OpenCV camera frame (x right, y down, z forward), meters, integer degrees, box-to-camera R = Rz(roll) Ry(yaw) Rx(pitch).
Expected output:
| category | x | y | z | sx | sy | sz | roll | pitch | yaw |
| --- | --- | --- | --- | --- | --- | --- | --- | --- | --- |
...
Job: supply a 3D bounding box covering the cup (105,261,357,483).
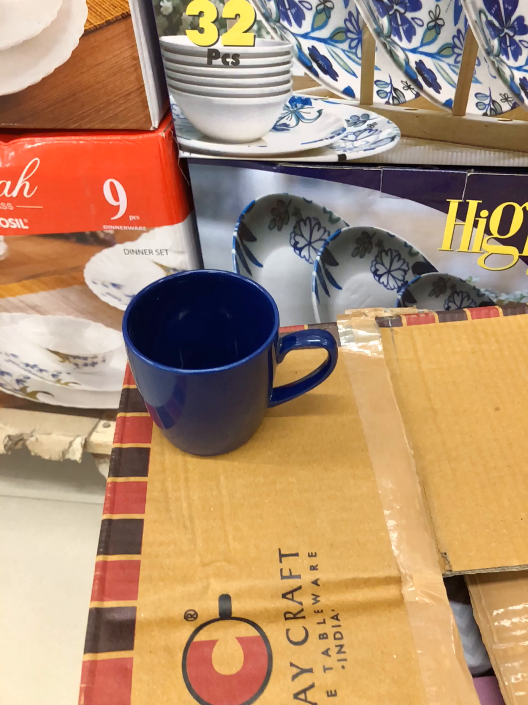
| category | x | y | z | sx | sy | sz | roll | pitch | yaw |
| --- | --- | --- | --- | --- | --- | --- | --- | --- | --- |
| cup | -0.010 | 0.010 | 0.285 | 0.100 | 0.079 | 0.071 | 0 | 44 | 4 |
